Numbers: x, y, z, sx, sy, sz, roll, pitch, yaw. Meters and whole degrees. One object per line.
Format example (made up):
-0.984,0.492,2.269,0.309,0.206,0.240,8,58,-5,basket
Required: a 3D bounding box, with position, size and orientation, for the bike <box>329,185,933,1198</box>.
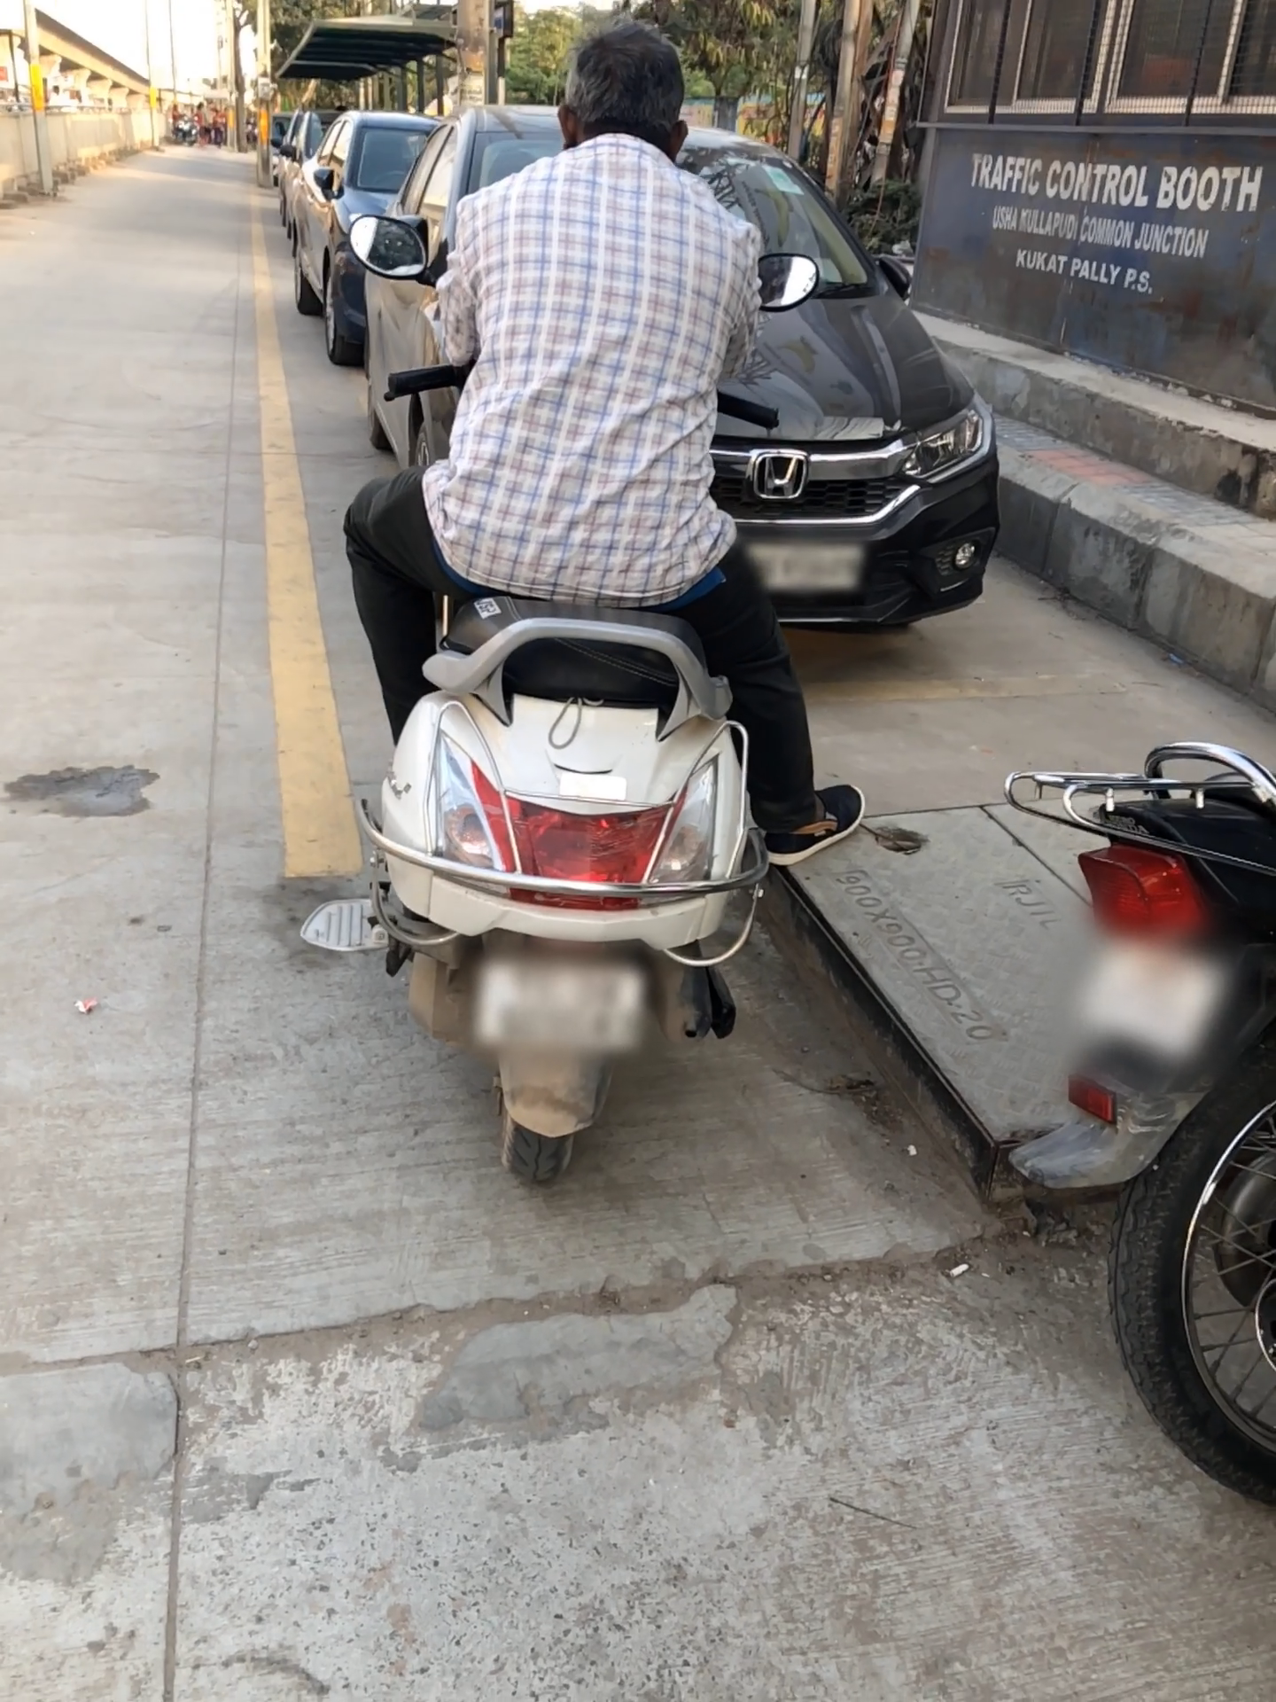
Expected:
-0.045,-0.420,2.310,0.640,0.858,1.610,2,35,-4,bike
